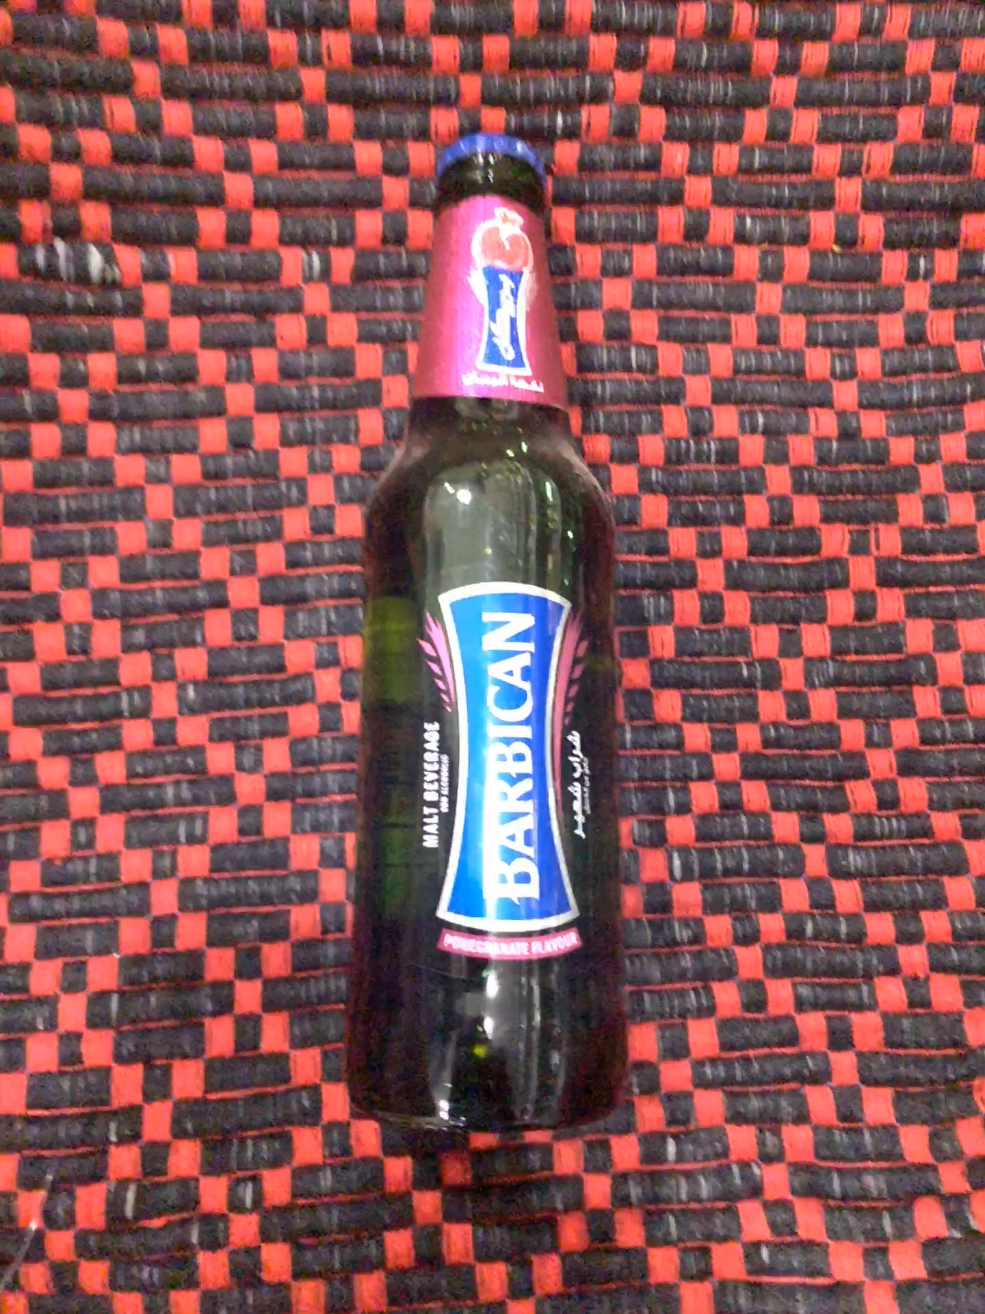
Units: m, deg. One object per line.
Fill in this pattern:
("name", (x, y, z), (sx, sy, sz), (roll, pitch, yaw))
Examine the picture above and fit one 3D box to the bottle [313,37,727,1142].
("bottle", (-0.001, -0.022, 0.247), (0.070, 0.080, 0.240), (-1, 72, -4))
